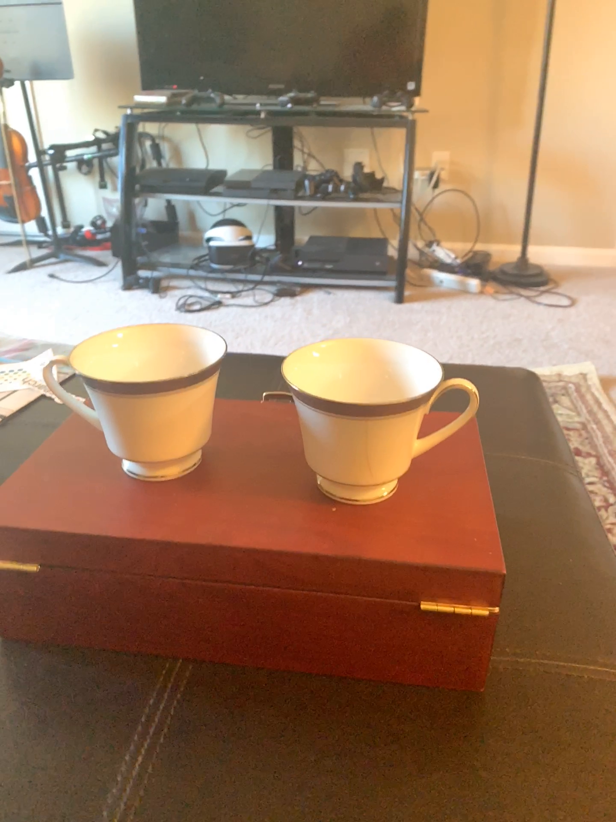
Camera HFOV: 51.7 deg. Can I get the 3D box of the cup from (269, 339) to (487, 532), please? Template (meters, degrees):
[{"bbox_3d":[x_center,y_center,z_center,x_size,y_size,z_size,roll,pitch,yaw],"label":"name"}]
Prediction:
[{"bbox_3d":[0.041,0.010,0.377,0.110,0.070,0.091,4,29,8],"label":"cup"}]

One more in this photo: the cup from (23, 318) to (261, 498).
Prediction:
[{"bbox_3d":[-0.095,-0.006,0.396,0.110,0.070,0.090,4,29,8],"label":"cup"}]
